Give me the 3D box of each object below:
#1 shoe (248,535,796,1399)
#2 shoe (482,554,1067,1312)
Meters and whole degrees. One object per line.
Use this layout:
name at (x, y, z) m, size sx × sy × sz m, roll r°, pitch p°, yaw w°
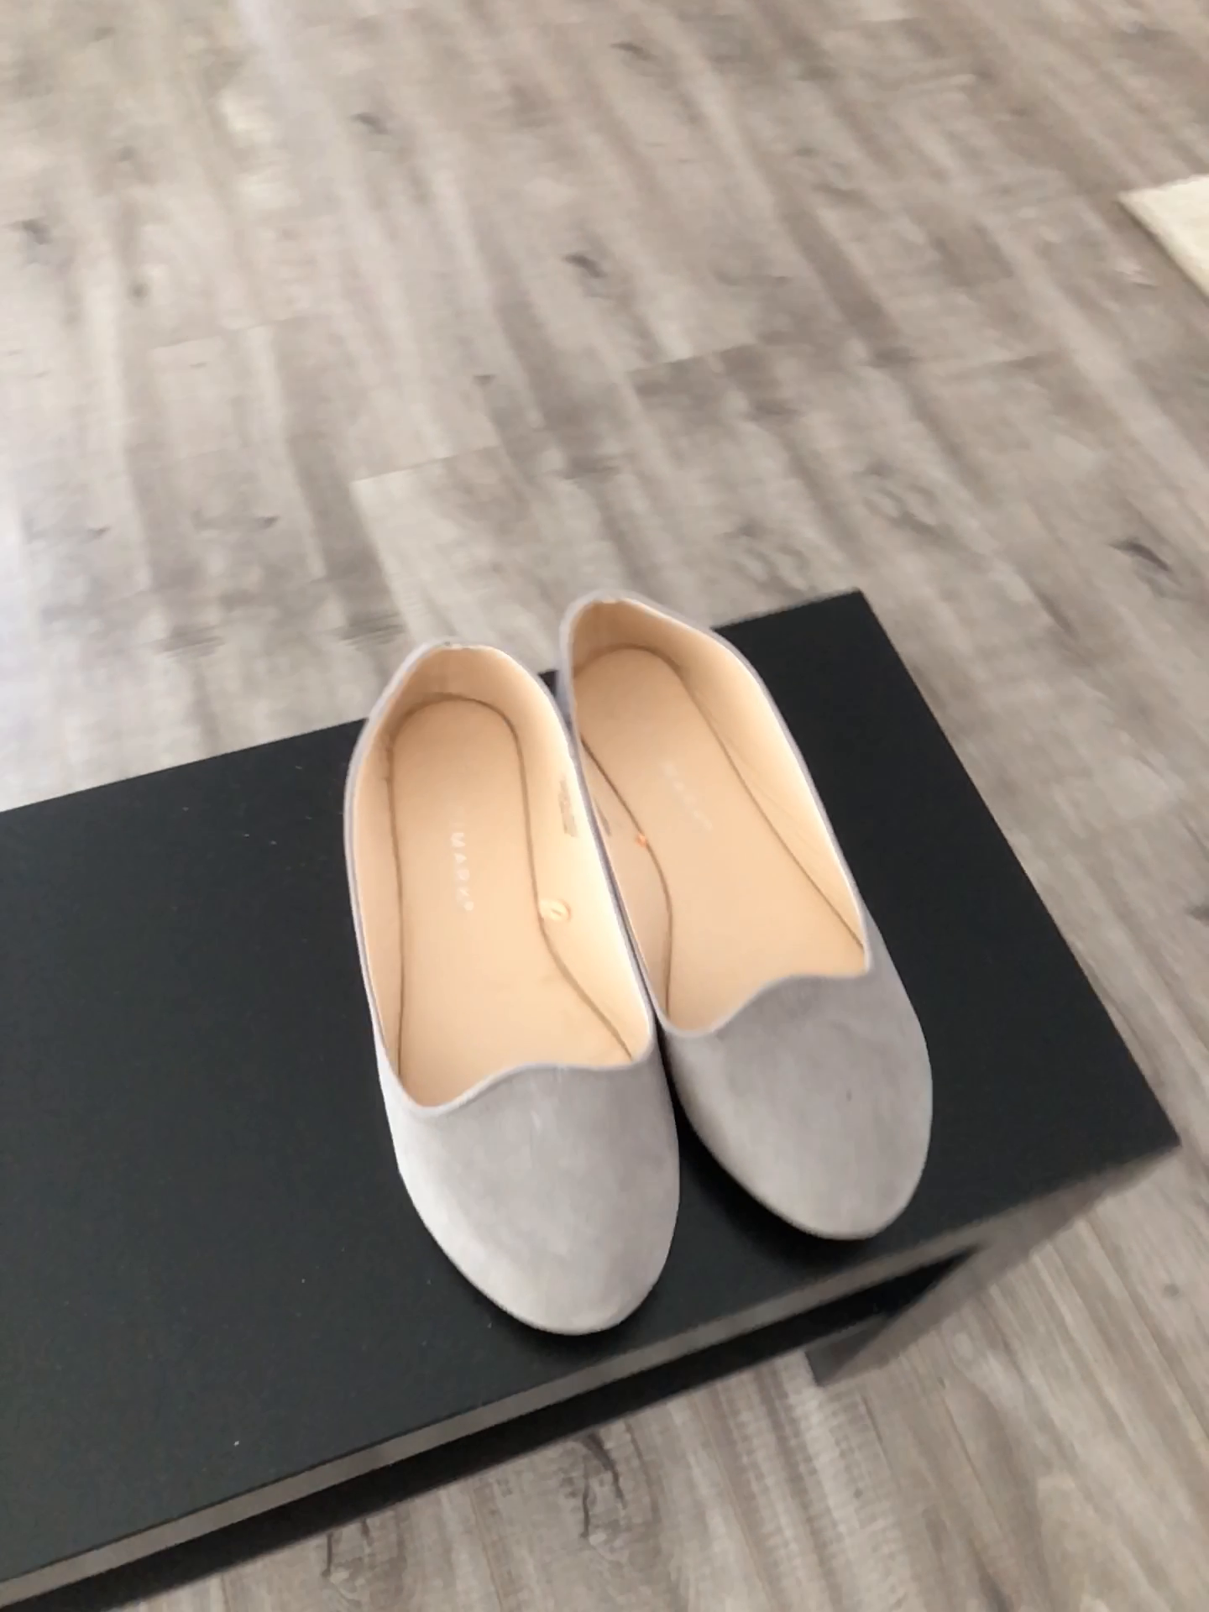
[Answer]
shoe at (-0.038, 0.042, 0.441) m, size 0.100 × 0.090 × 0.254 m, roll -14°, pitch 59°, yaw -11°
shoe at (0.045, 0.032, 0.473) m, size 0.100 × 0.060 × 0.251 m, roll -17°, pitch 60°, yaw -12°
